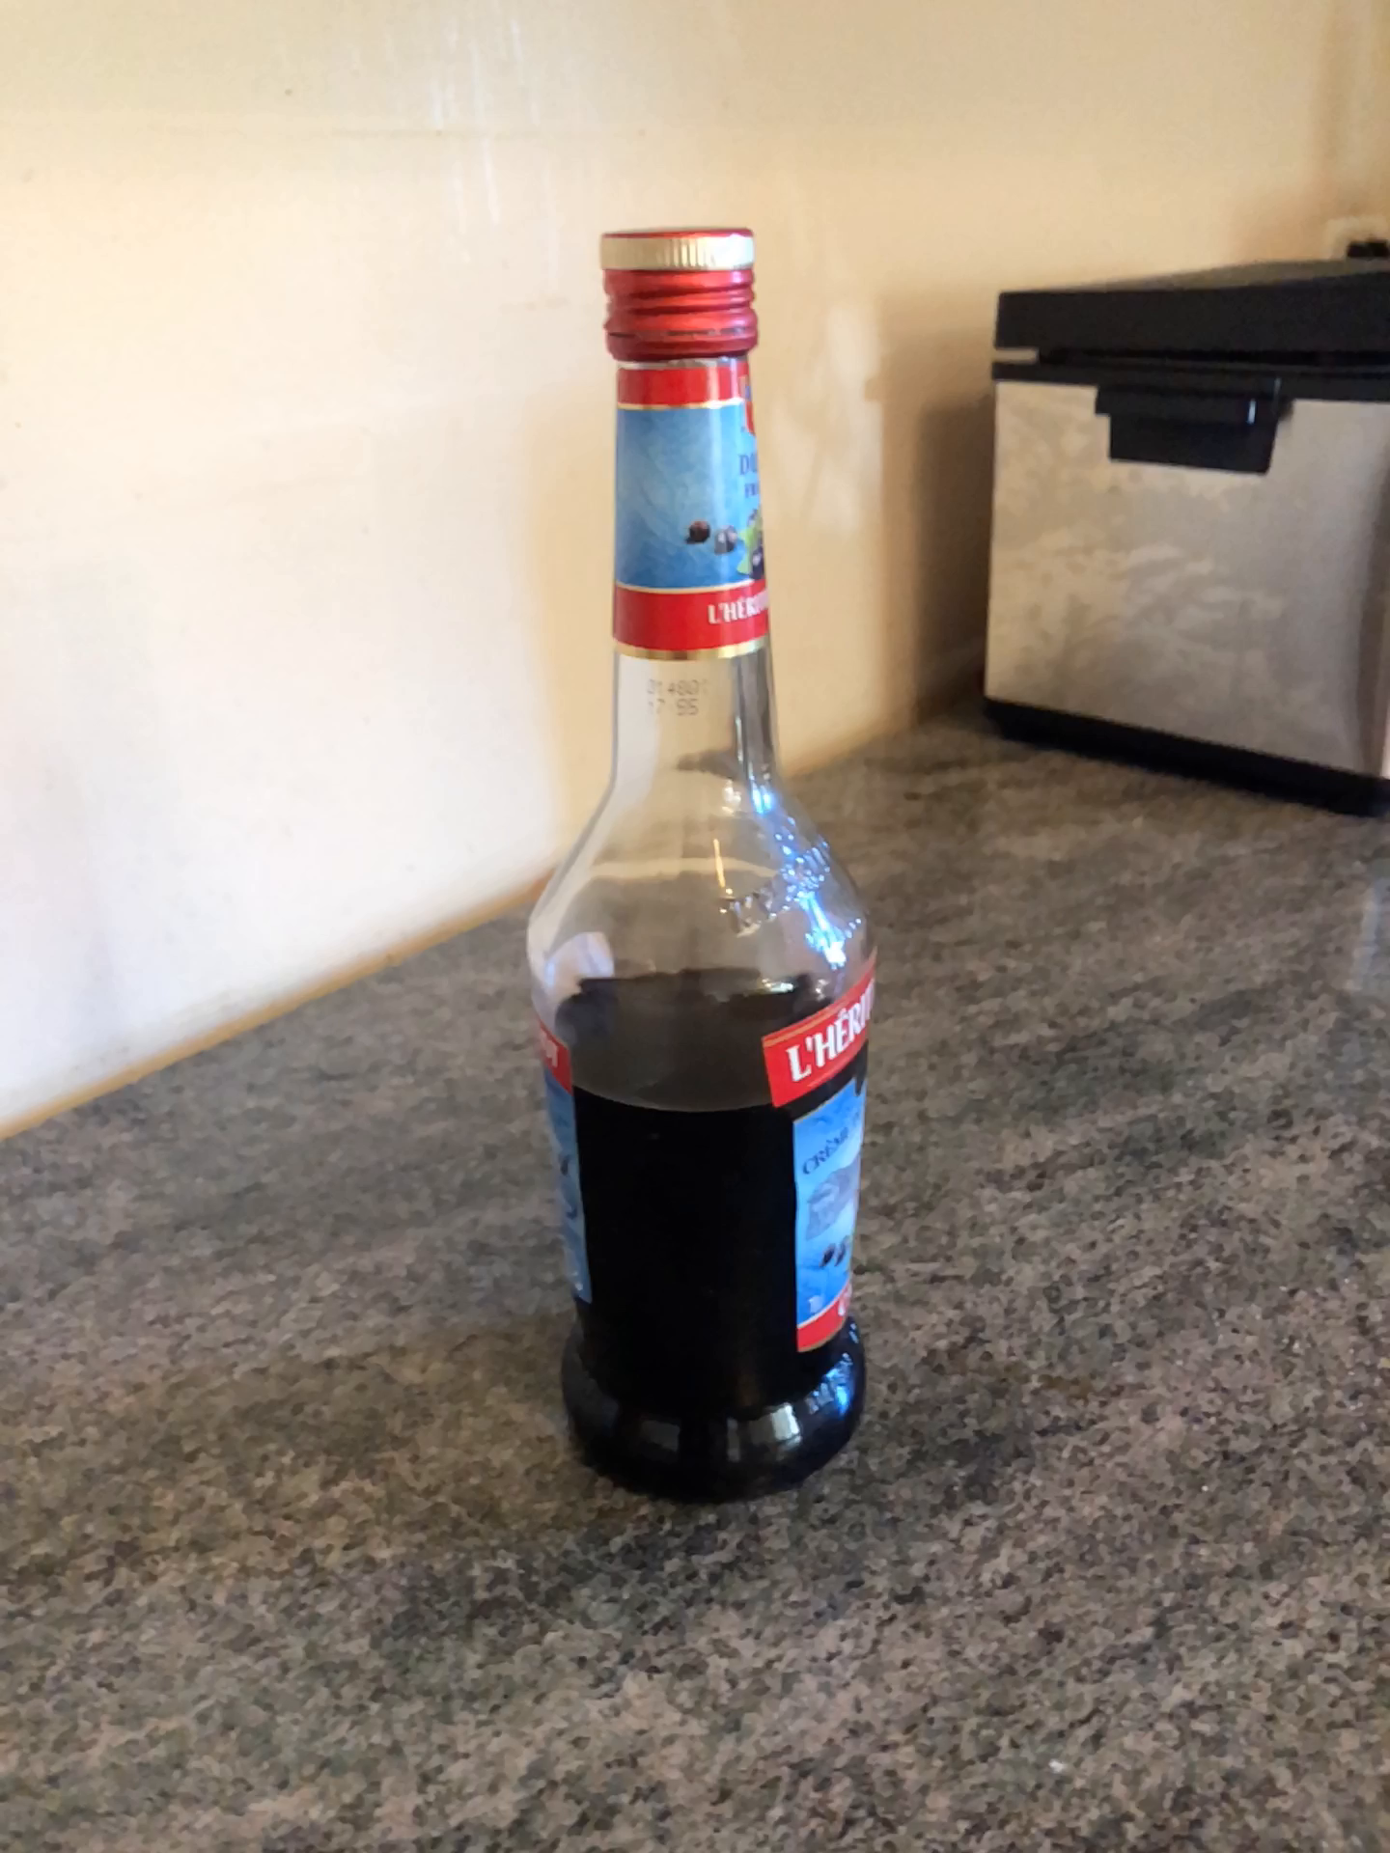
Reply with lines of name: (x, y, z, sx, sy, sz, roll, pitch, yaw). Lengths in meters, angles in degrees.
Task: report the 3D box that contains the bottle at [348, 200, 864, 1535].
bottle: (-0.006, -0.005, 0.366, 0.090, 0.298, 0.090, -2, 23, 1)
